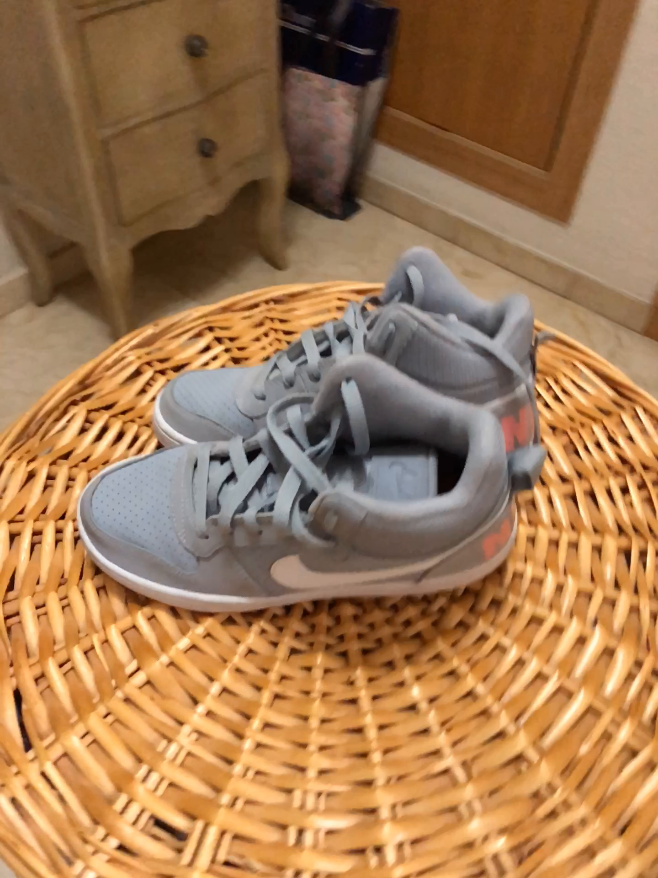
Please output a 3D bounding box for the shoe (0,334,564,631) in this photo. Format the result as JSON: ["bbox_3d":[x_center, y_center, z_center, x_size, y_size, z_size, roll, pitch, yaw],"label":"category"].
[{"bbox_3d":[-0.020,0.028,0.392,0.247,0.117,0.099,4,59,1],"label":"shoe"}]

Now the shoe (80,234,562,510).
[{"bbox_3d":[0.001,-0.043,0.453,0.251,0.120,0.105,3,48,8],"label":"shoe"}]
